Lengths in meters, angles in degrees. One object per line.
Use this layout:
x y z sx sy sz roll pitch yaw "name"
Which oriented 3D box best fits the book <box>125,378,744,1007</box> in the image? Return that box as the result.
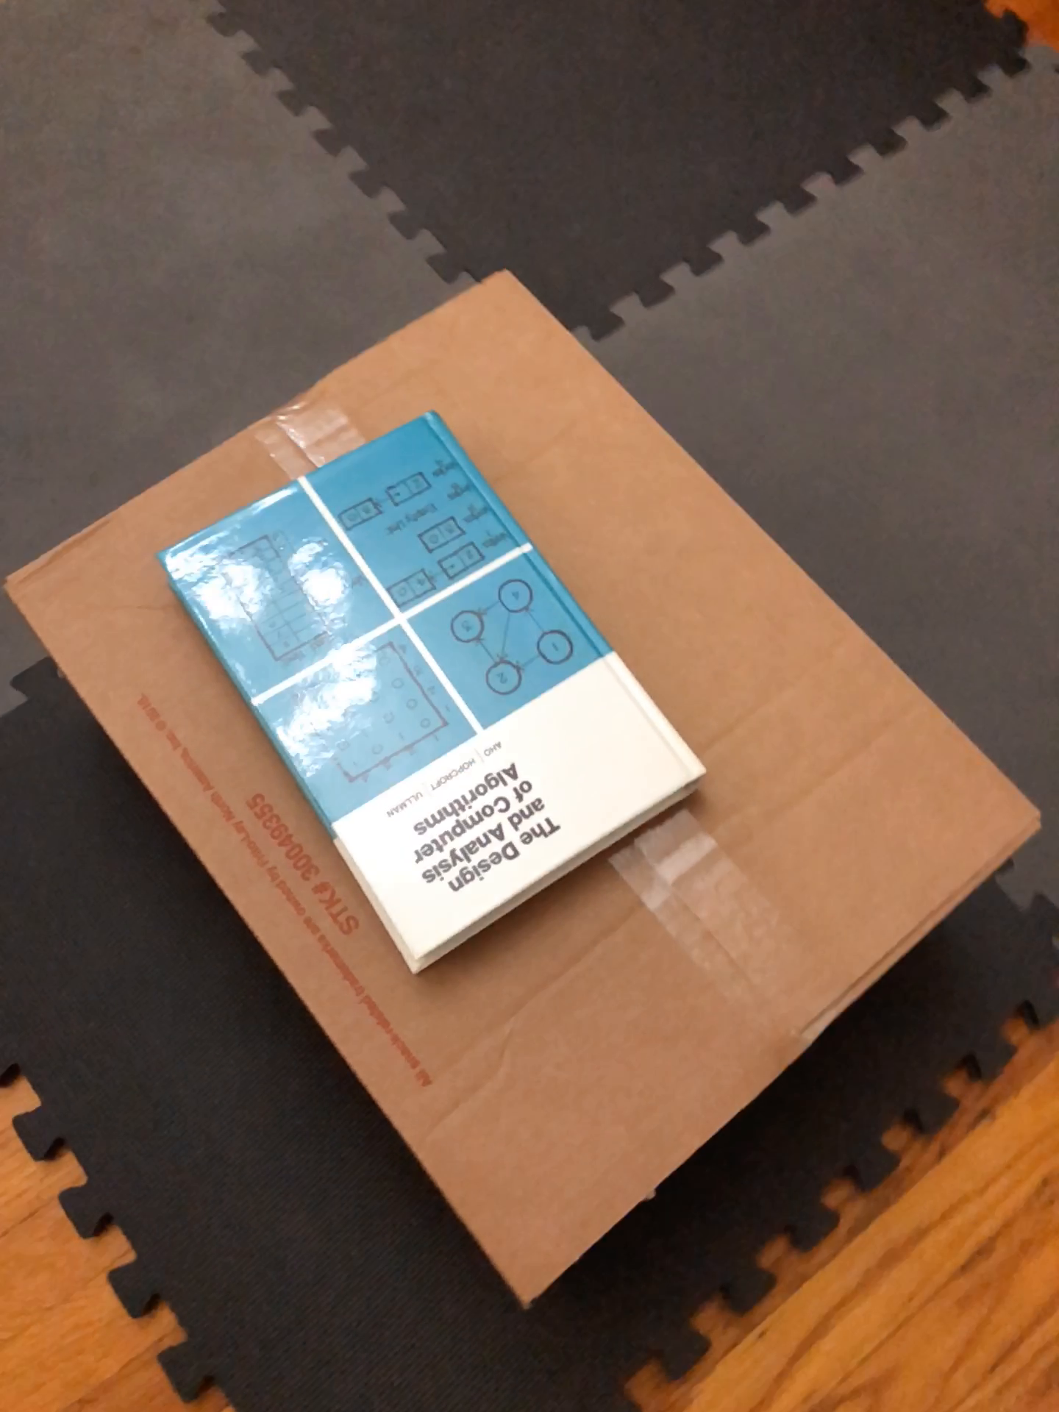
-0.050 -0.017 0.584 0.190 0.040 0.260 -31 74 -14 "book"
